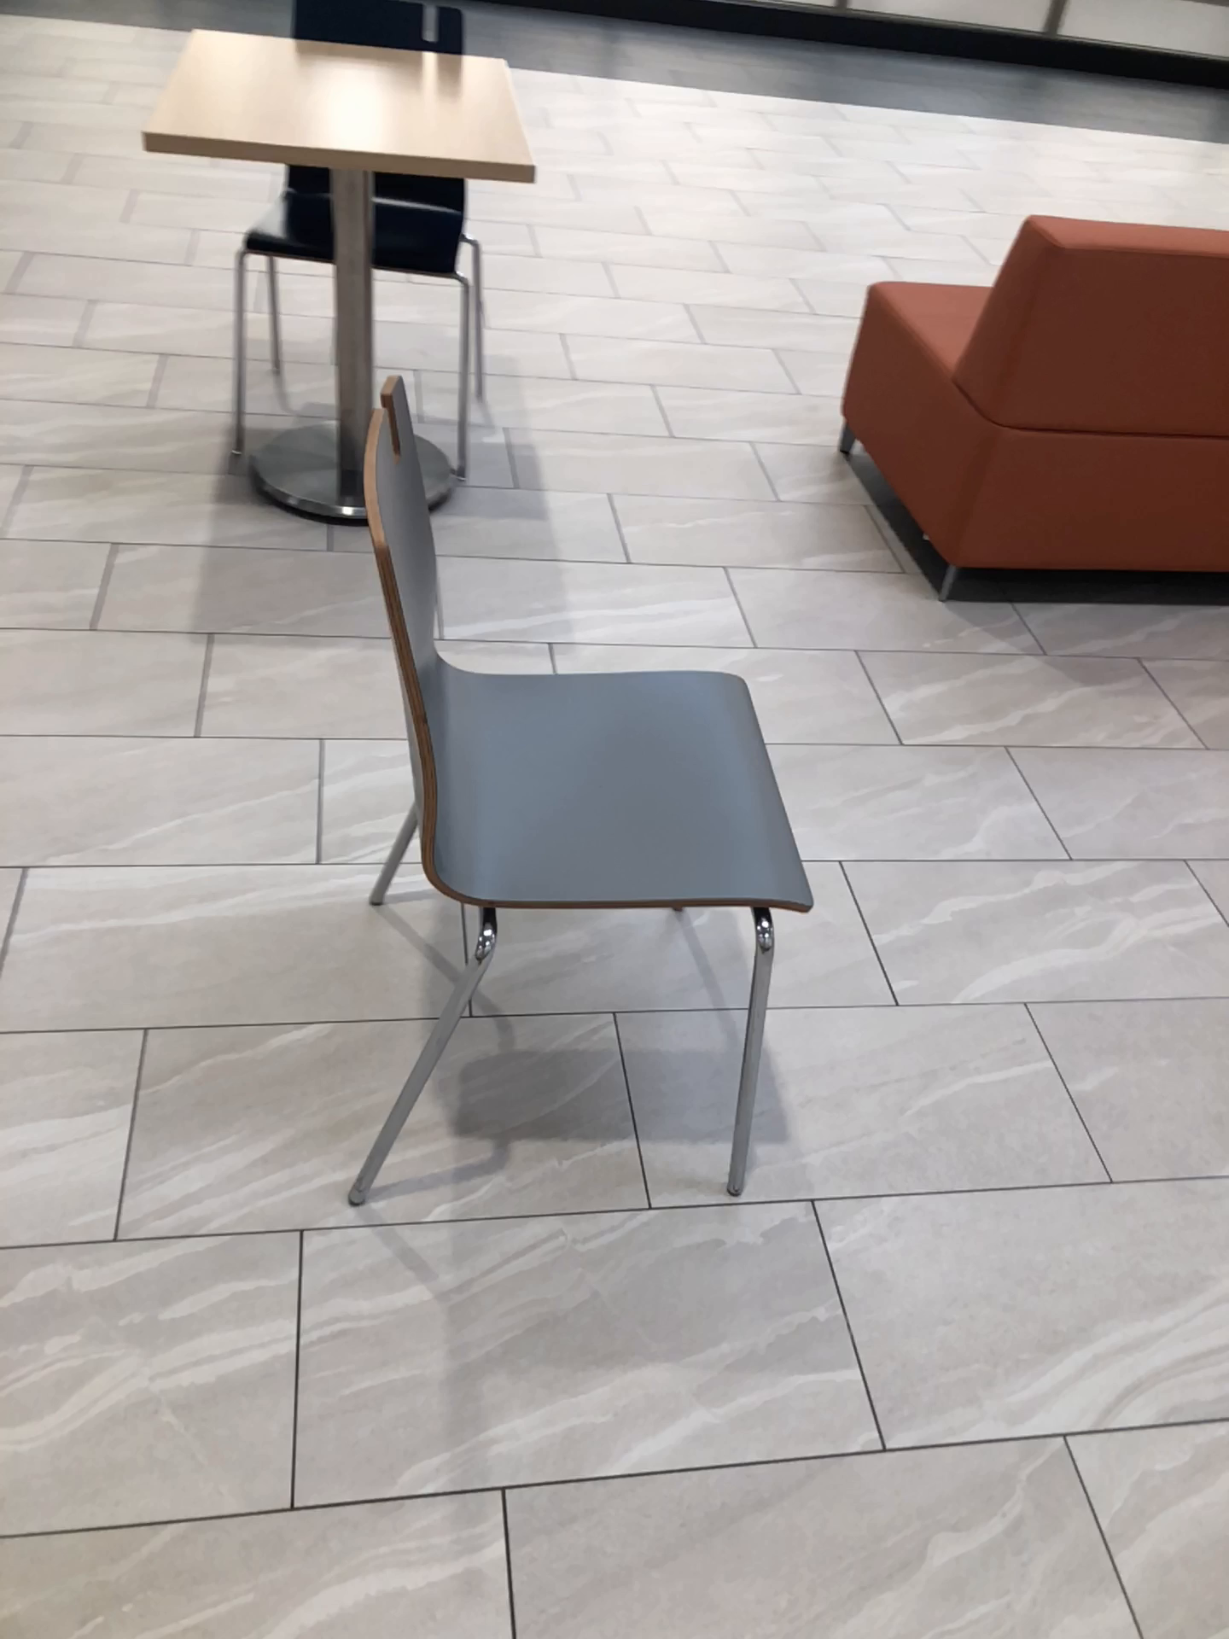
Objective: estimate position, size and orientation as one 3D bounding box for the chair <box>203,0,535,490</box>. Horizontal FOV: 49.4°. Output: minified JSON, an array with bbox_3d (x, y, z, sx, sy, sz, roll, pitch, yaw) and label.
[{"bbox_3d":[-0.459,-1.157,2.631,0.514,0.777,0.538,6,39,-5],"label":"chair"}]

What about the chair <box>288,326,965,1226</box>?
[{"bbox_3d":[-0.061,-0.024,1.446,0.515,0.787,0.527,1,40,-10],"label":"chair"}]
